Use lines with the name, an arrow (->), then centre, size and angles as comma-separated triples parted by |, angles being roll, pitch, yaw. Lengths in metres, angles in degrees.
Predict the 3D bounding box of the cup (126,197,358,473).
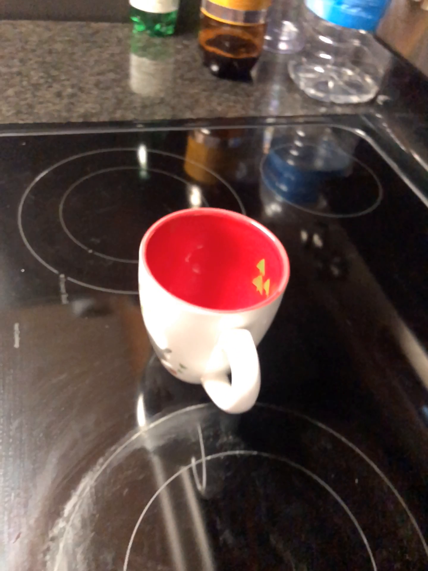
cup -> 0.004, 0.027, 0.328 | 0.100, 0.100, 0.140 | -8, 49, -17
